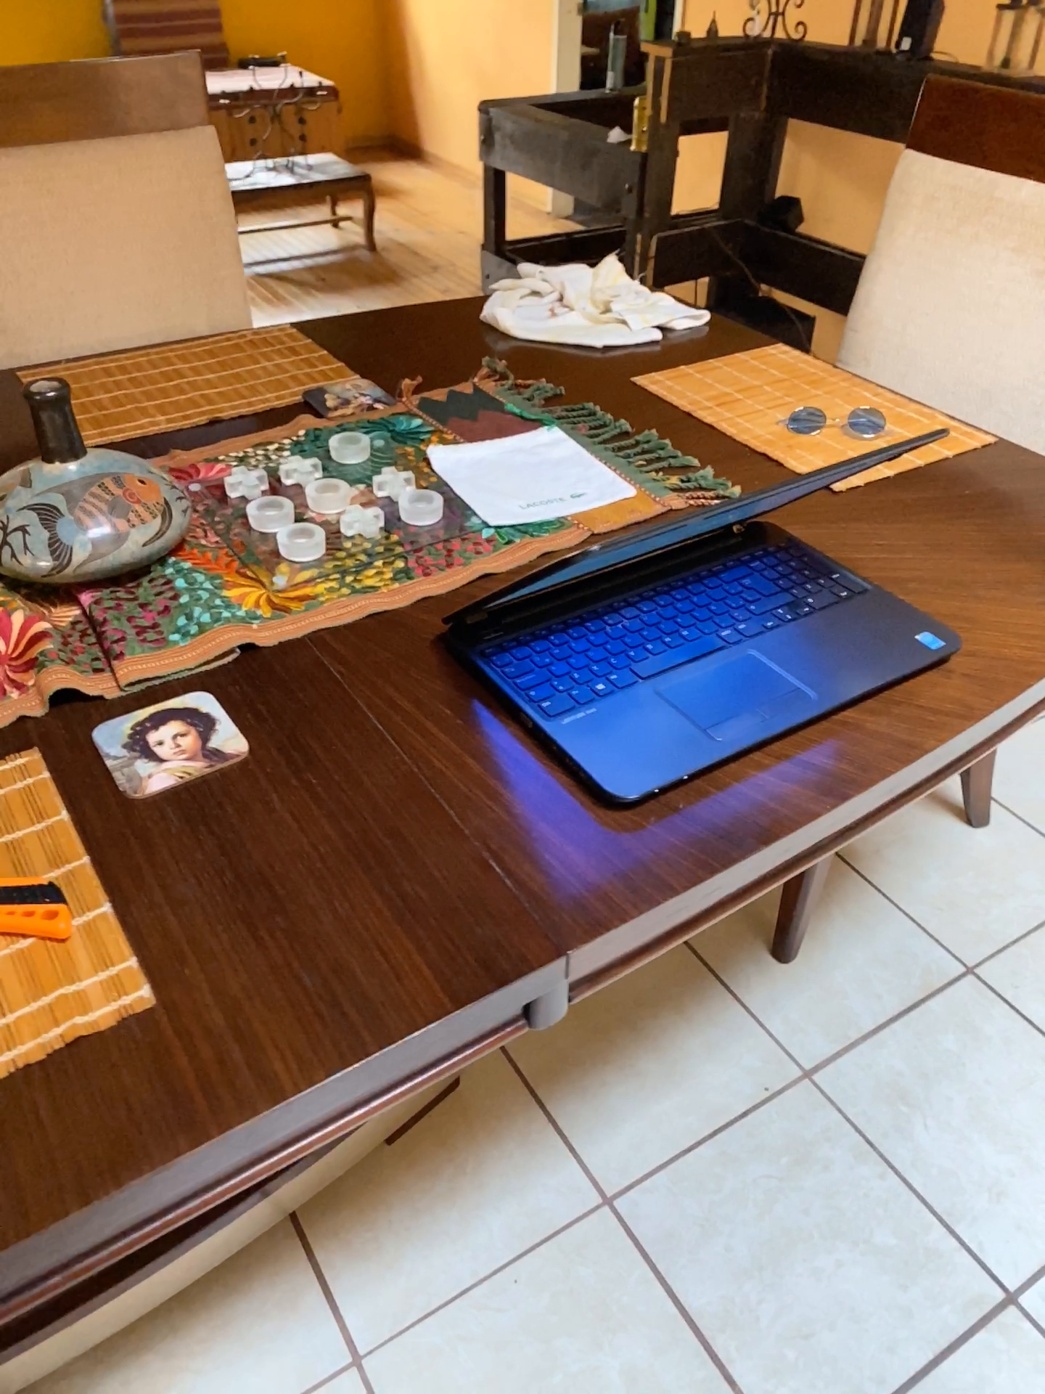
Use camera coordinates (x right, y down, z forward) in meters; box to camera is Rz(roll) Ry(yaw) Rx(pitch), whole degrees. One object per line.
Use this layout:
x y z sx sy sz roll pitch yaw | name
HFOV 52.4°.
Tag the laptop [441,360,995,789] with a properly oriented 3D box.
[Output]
0.148 -0.123 0.866 0.357 0.158 0.249 -21 43 -26 | laptop
